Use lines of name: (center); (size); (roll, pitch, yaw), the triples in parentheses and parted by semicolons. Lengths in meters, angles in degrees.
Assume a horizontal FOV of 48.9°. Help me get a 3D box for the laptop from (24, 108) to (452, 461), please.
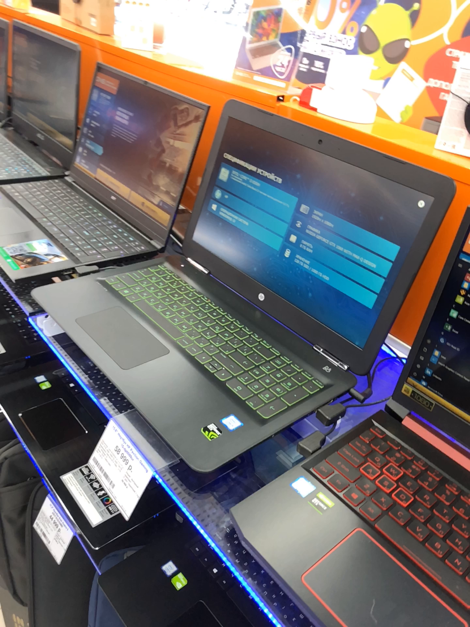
laptop: (-0.019, -0.085, 0.621); (0.312, 0.235, 0.358); (-18, 40, -39)
